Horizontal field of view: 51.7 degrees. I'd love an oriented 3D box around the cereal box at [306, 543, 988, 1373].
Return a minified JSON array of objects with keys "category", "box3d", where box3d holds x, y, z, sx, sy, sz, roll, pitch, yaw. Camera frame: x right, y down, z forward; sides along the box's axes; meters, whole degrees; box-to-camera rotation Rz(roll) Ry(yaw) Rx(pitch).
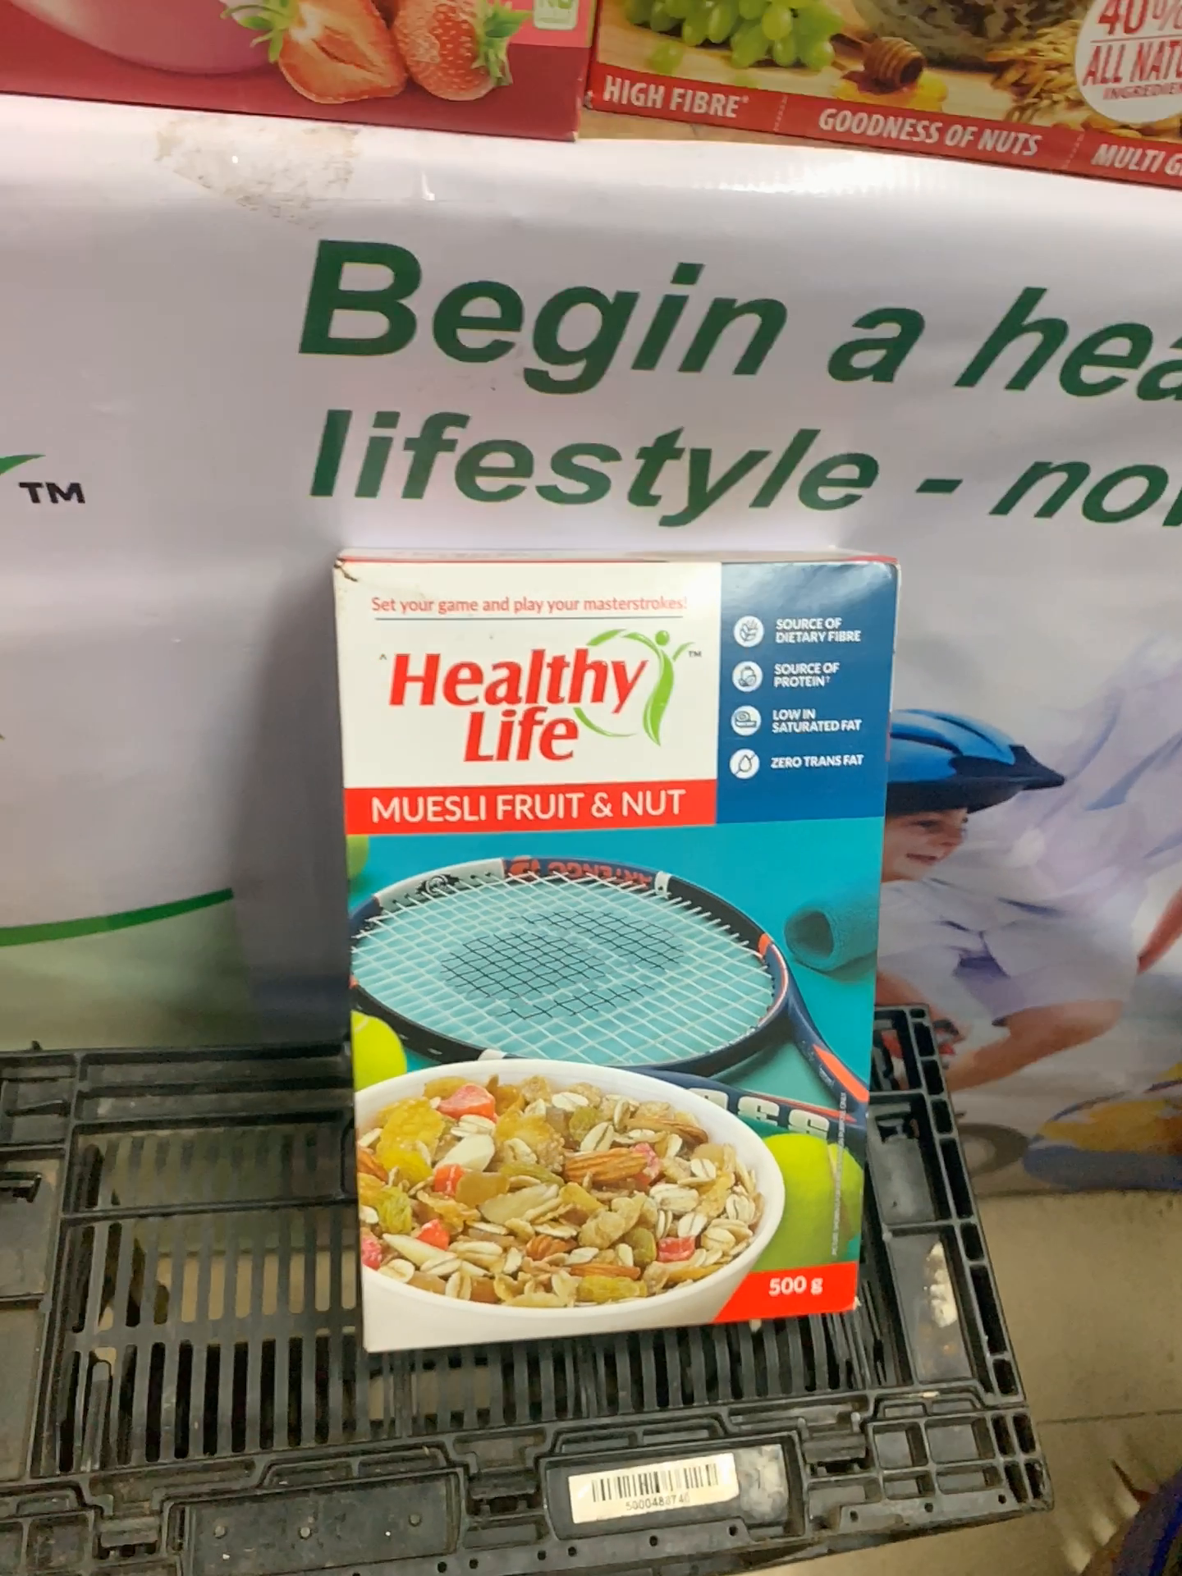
[{"category":"cereal box","box3d":[0.014,0.049,0.397,0.190,0.250,0.070,-2,13,-8]}]
